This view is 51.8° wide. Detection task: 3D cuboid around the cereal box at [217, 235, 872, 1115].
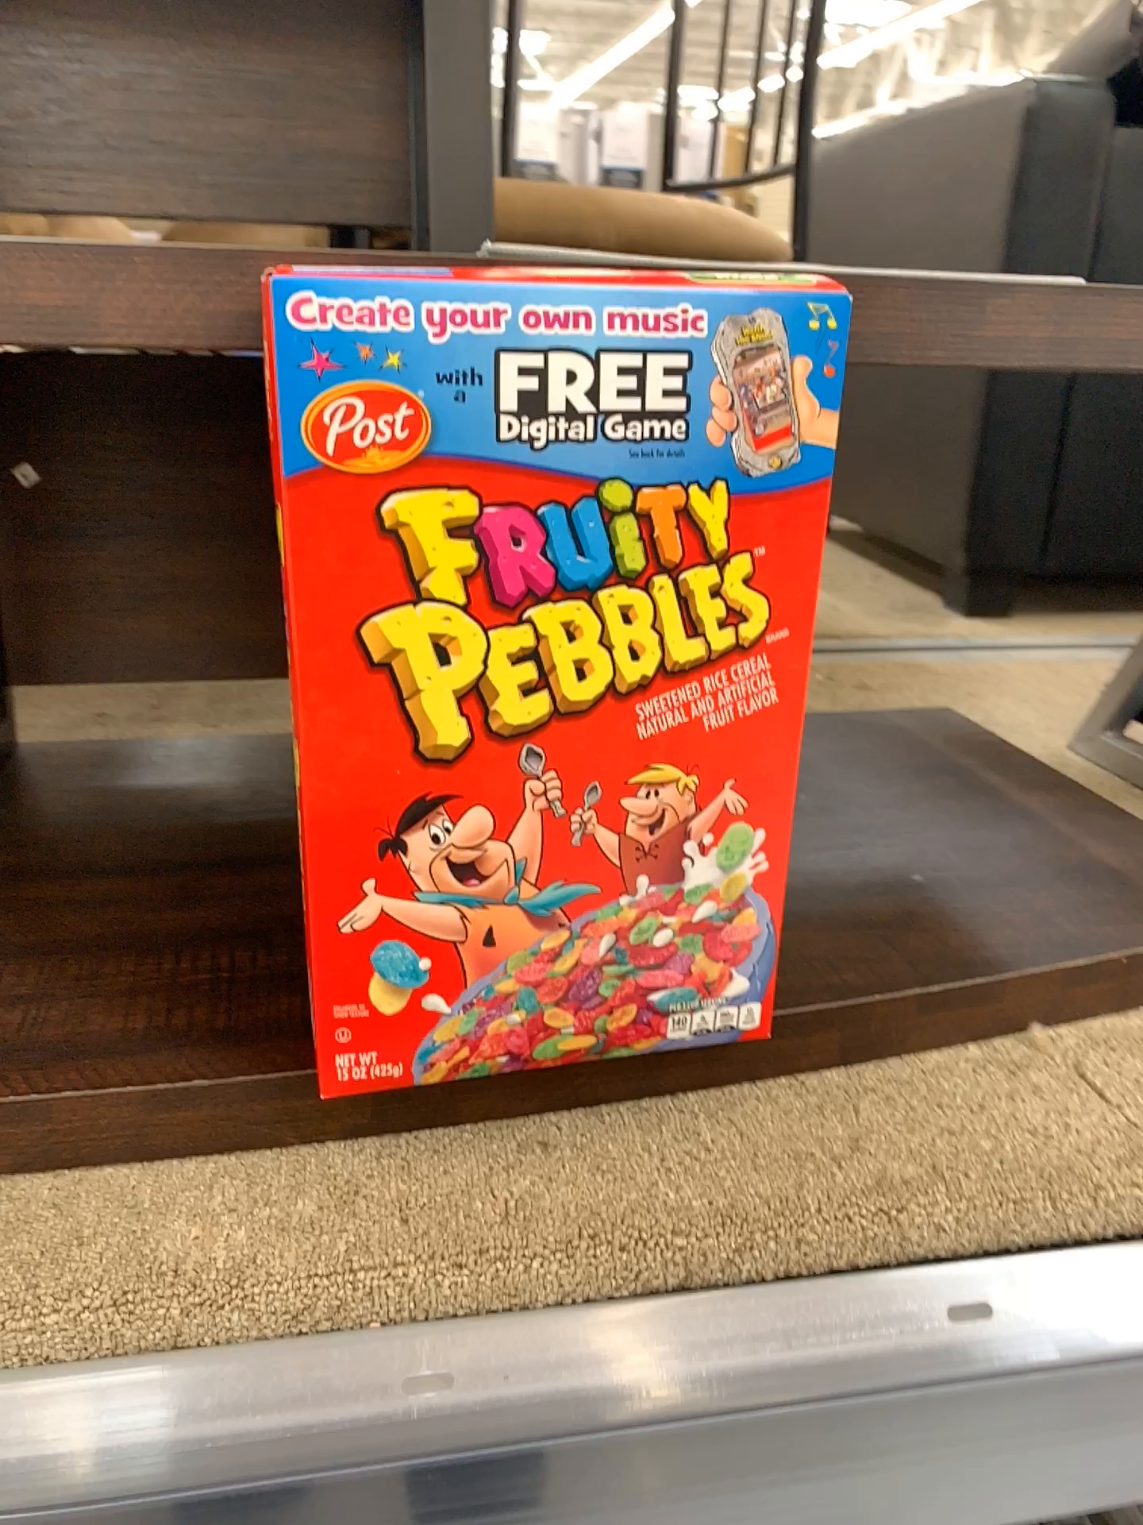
[{"bbox_3d":[-0.014,-0.027,0.449,0.210,0.308,0.060,-4,22,-14],"label":"cereal box"}]
